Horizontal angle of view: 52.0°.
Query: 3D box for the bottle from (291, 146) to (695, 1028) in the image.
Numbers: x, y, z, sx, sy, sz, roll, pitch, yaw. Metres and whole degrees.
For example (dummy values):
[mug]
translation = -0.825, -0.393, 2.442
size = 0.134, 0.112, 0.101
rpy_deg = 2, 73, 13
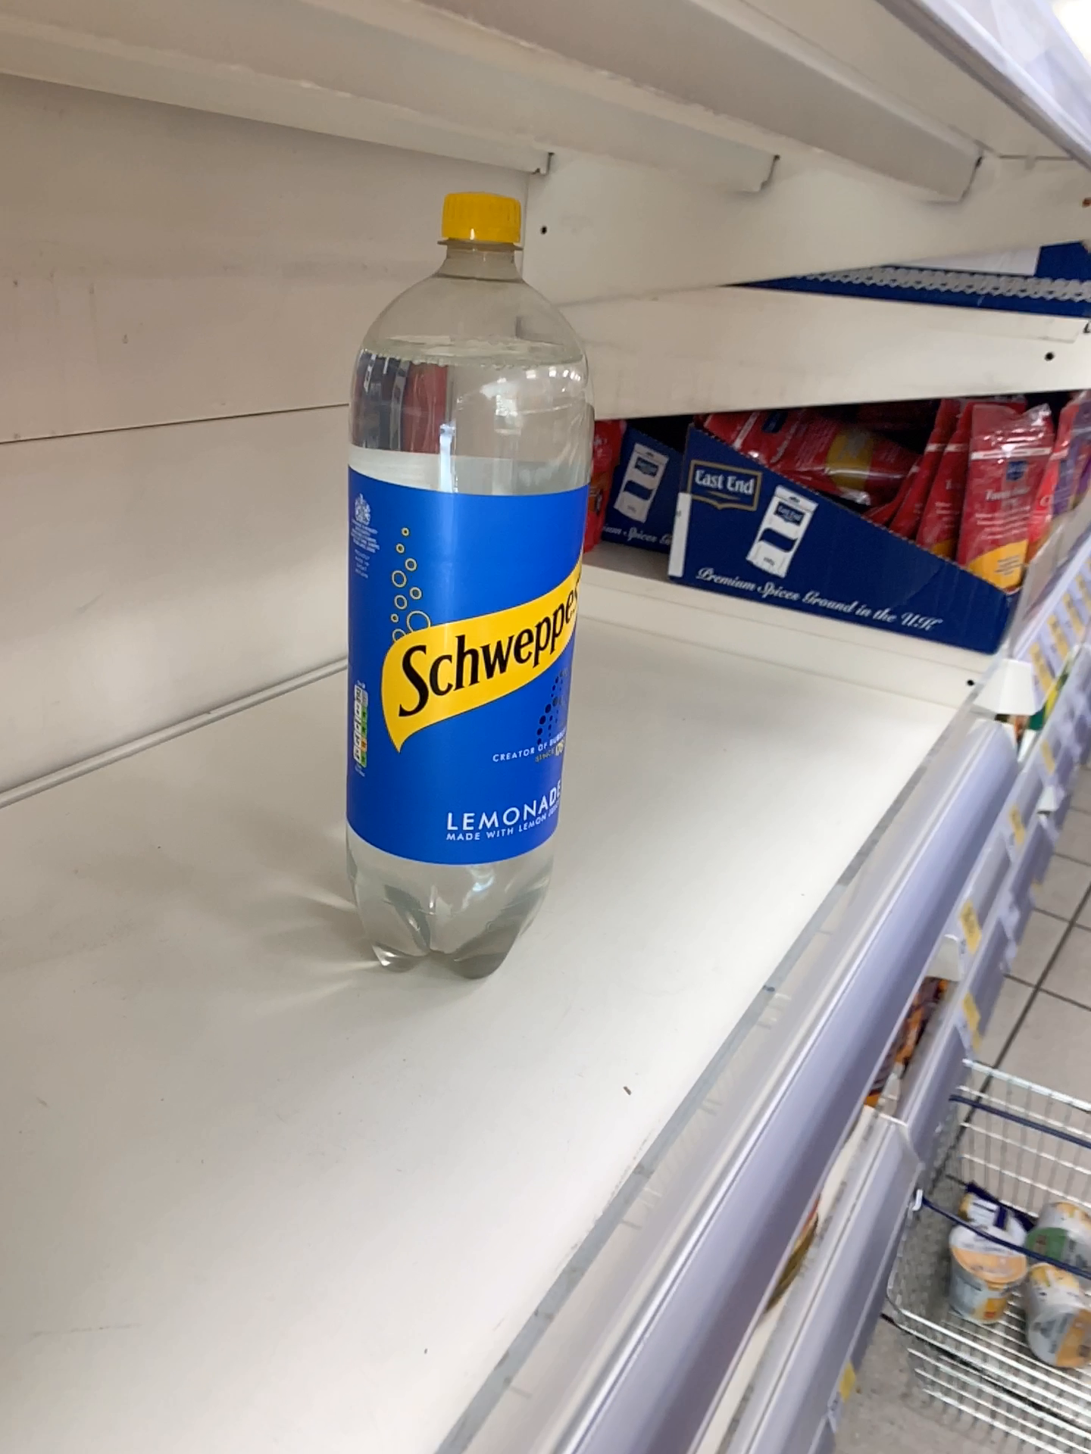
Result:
[bottle]
translation = -0.036, -0.054, 0.472
size = 0.110, 0.327, 0.111
rpy_deg = 5, 23, -2
